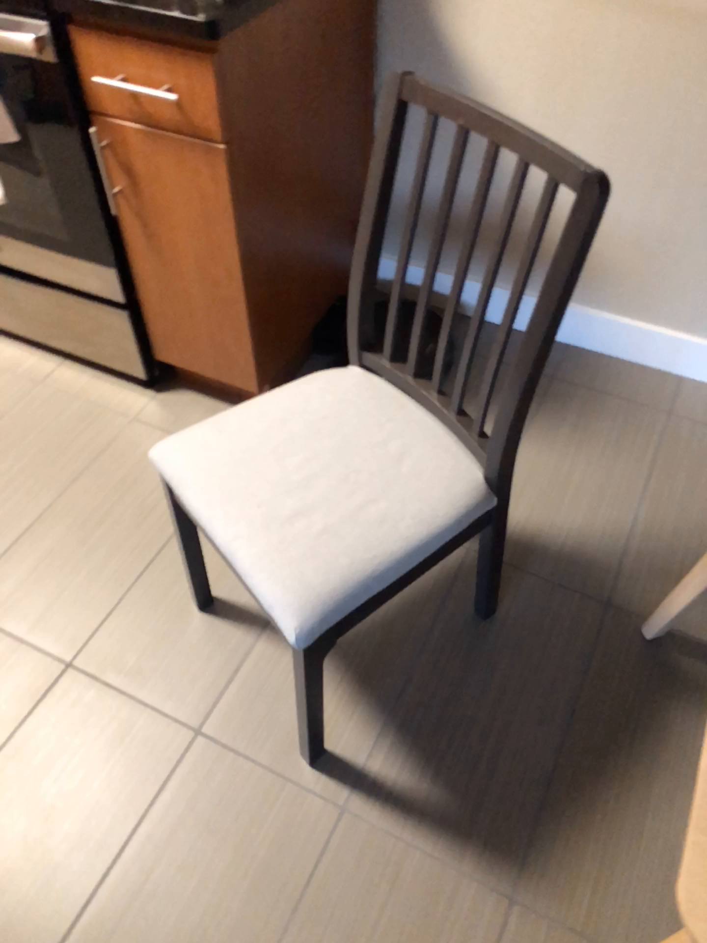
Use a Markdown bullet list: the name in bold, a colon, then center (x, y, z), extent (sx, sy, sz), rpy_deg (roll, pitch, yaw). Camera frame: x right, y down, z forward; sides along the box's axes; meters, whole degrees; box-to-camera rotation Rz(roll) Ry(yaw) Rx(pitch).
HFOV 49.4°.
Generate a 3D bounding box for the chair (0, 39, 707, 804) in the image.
- **chair**: center (-0.023, -0.058, 1.189), extent (0.591, 0.846, 0.582), rpy_deg (-29, 54, -24)
